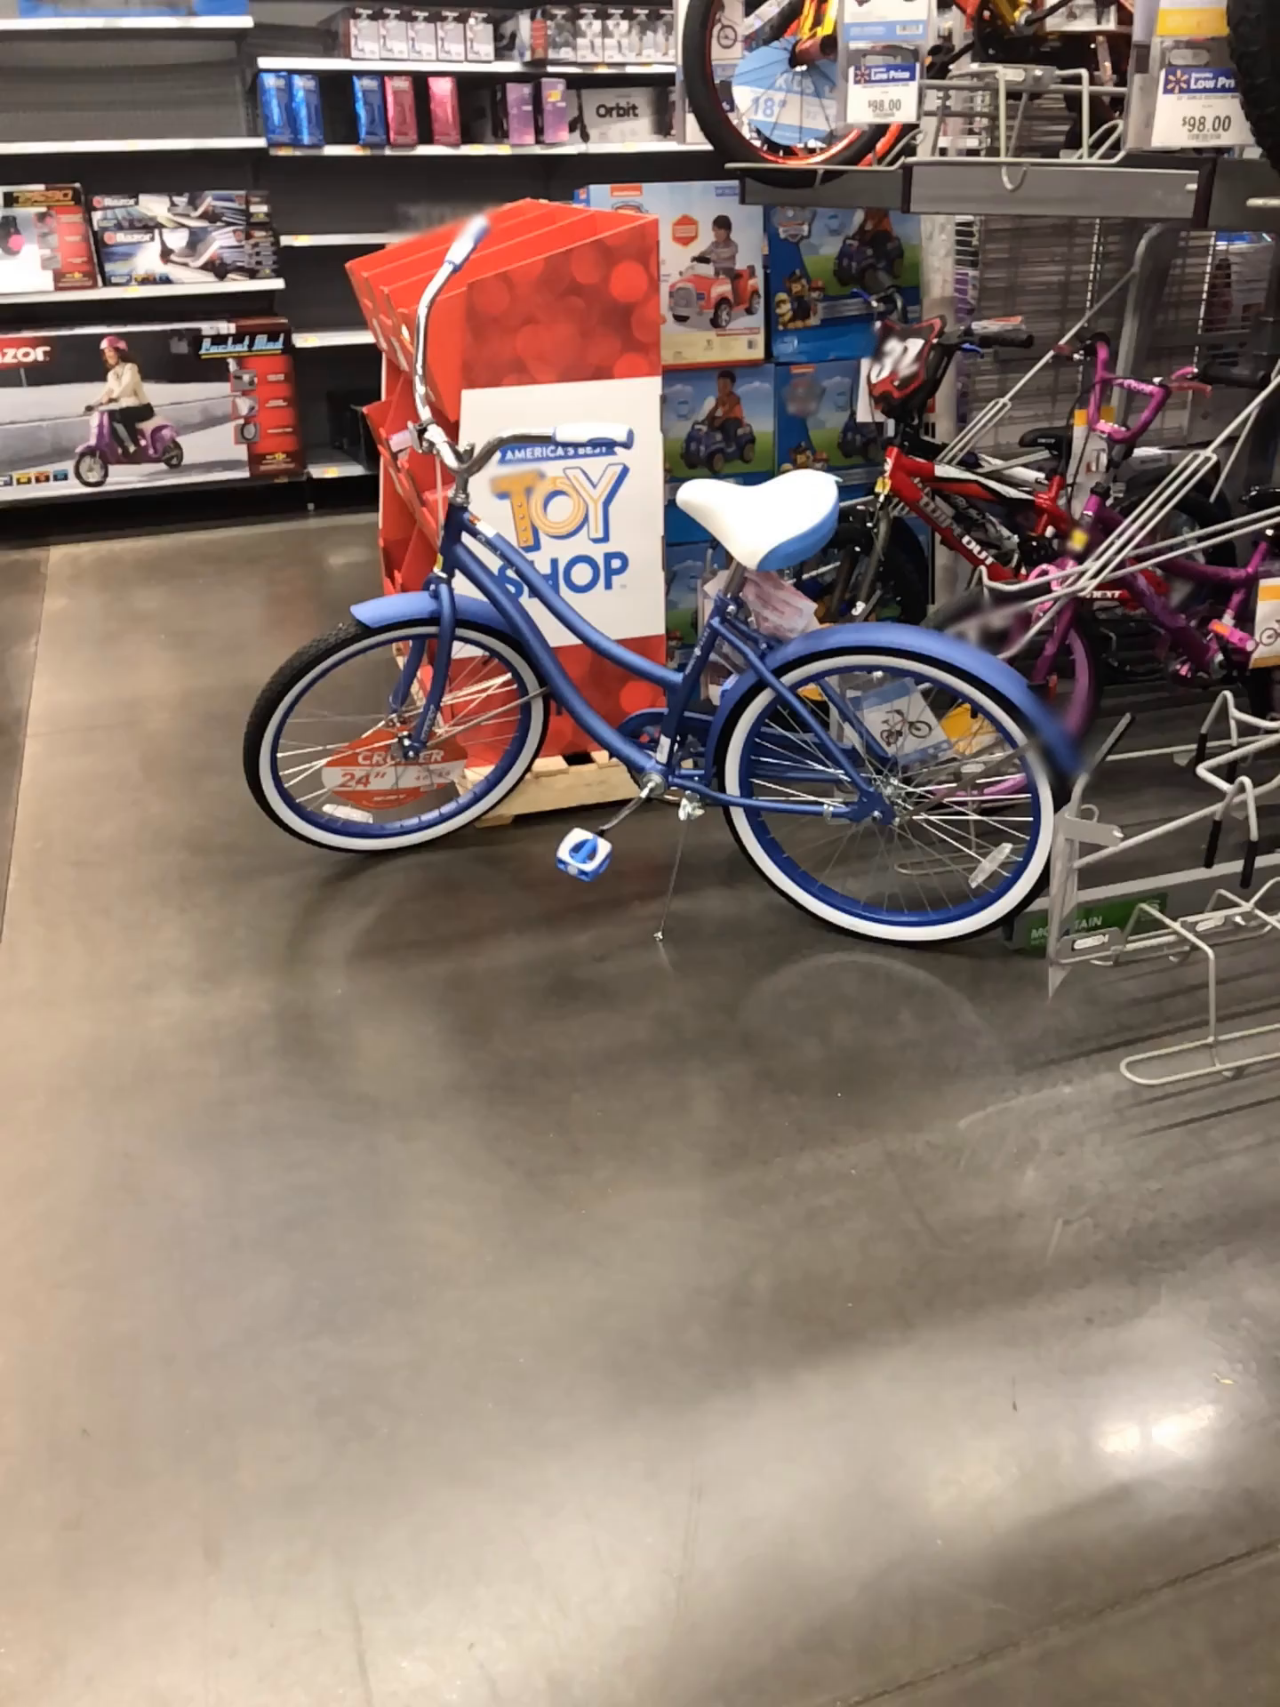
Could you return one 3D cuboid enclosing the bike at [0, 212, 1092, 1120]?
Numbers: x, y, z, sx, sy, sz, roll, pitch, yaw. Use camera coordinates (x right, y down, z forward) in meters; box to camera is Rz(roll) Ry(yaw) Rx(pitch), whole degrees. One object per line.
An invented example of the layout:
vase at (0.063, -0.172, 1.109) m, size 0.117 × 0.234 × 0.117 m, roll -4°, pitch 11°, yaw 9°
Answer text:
bike at (-0.069, -0.356, 2.250) m, size 1.354 × 1.114 × 0.860 m, roll 5°, pitch 26°, yaw 17°
